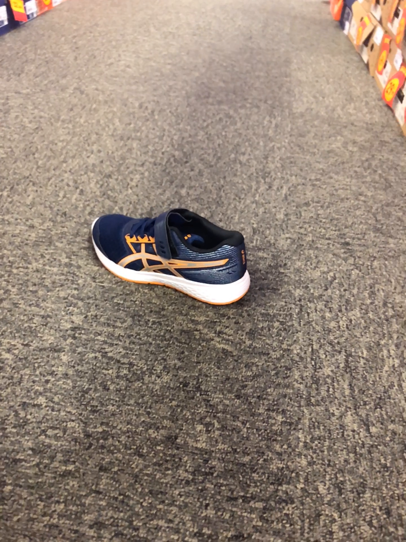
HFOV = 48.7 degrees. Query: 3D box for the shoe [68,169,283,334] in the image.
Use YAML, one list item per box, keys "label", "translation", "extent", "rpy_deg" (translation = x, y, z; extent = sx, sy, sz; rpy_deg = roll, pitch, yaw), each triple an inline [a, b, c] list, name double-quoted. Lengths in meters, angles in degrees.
- label: "shoe"
  translation: [-0.035, -0.030, 0.552]
  extent: [0.235, 0.099, 0.091]
  rpy_deg: [21, 43, 18]
